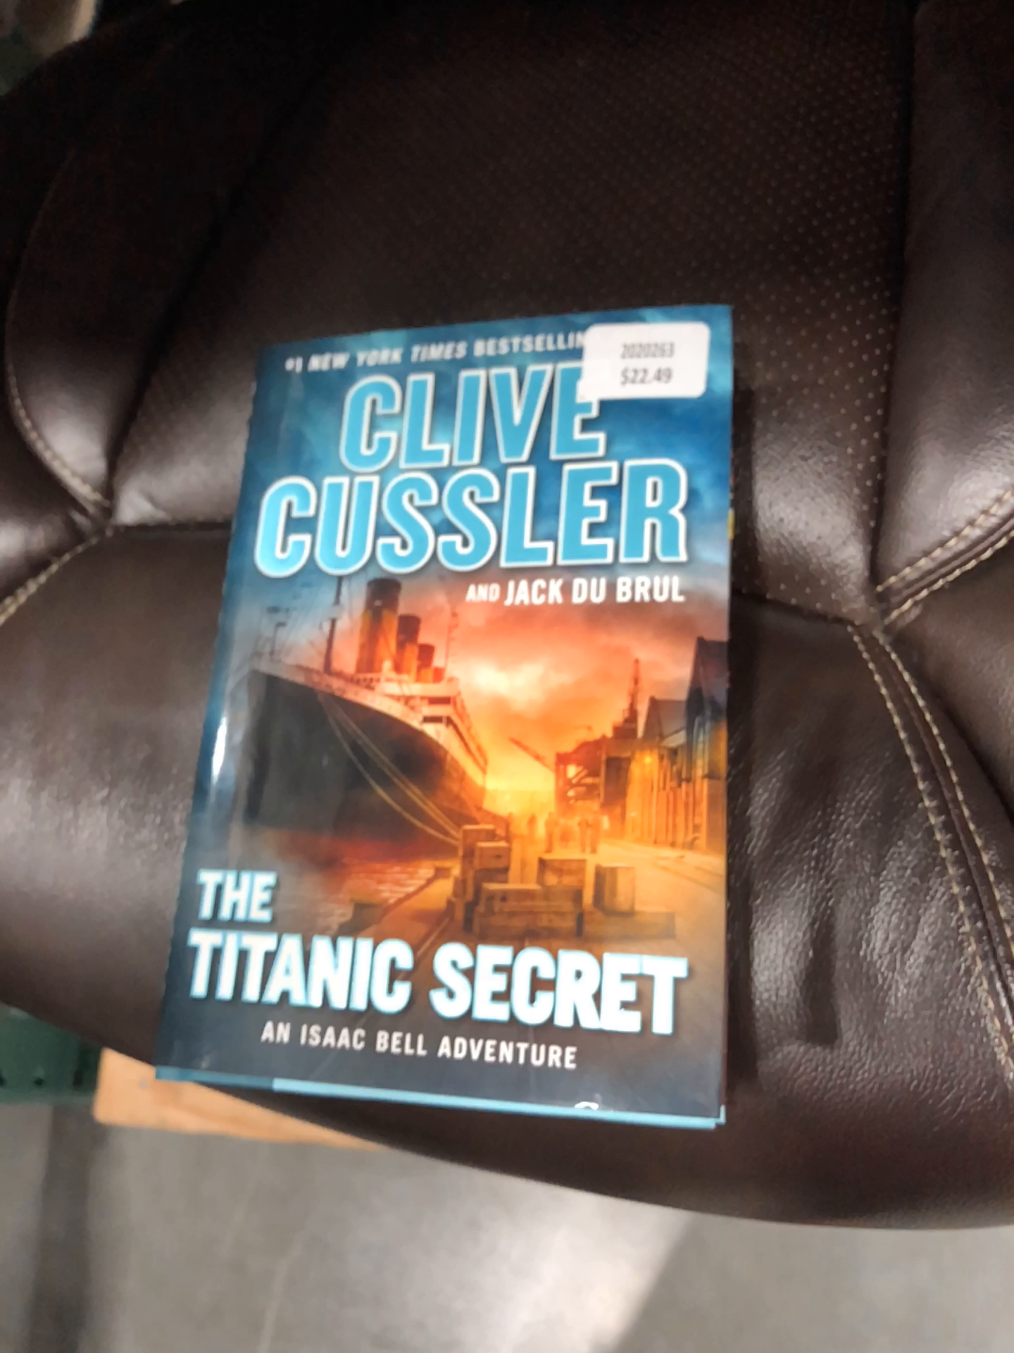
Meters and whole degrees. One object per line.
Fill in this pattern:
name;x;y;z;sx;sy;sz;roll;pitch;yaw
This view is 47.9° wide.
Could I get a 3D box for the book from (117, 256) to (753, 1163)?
book;-0.013;0.001;0.343;0.165;0.040;0.249;0;73;16
